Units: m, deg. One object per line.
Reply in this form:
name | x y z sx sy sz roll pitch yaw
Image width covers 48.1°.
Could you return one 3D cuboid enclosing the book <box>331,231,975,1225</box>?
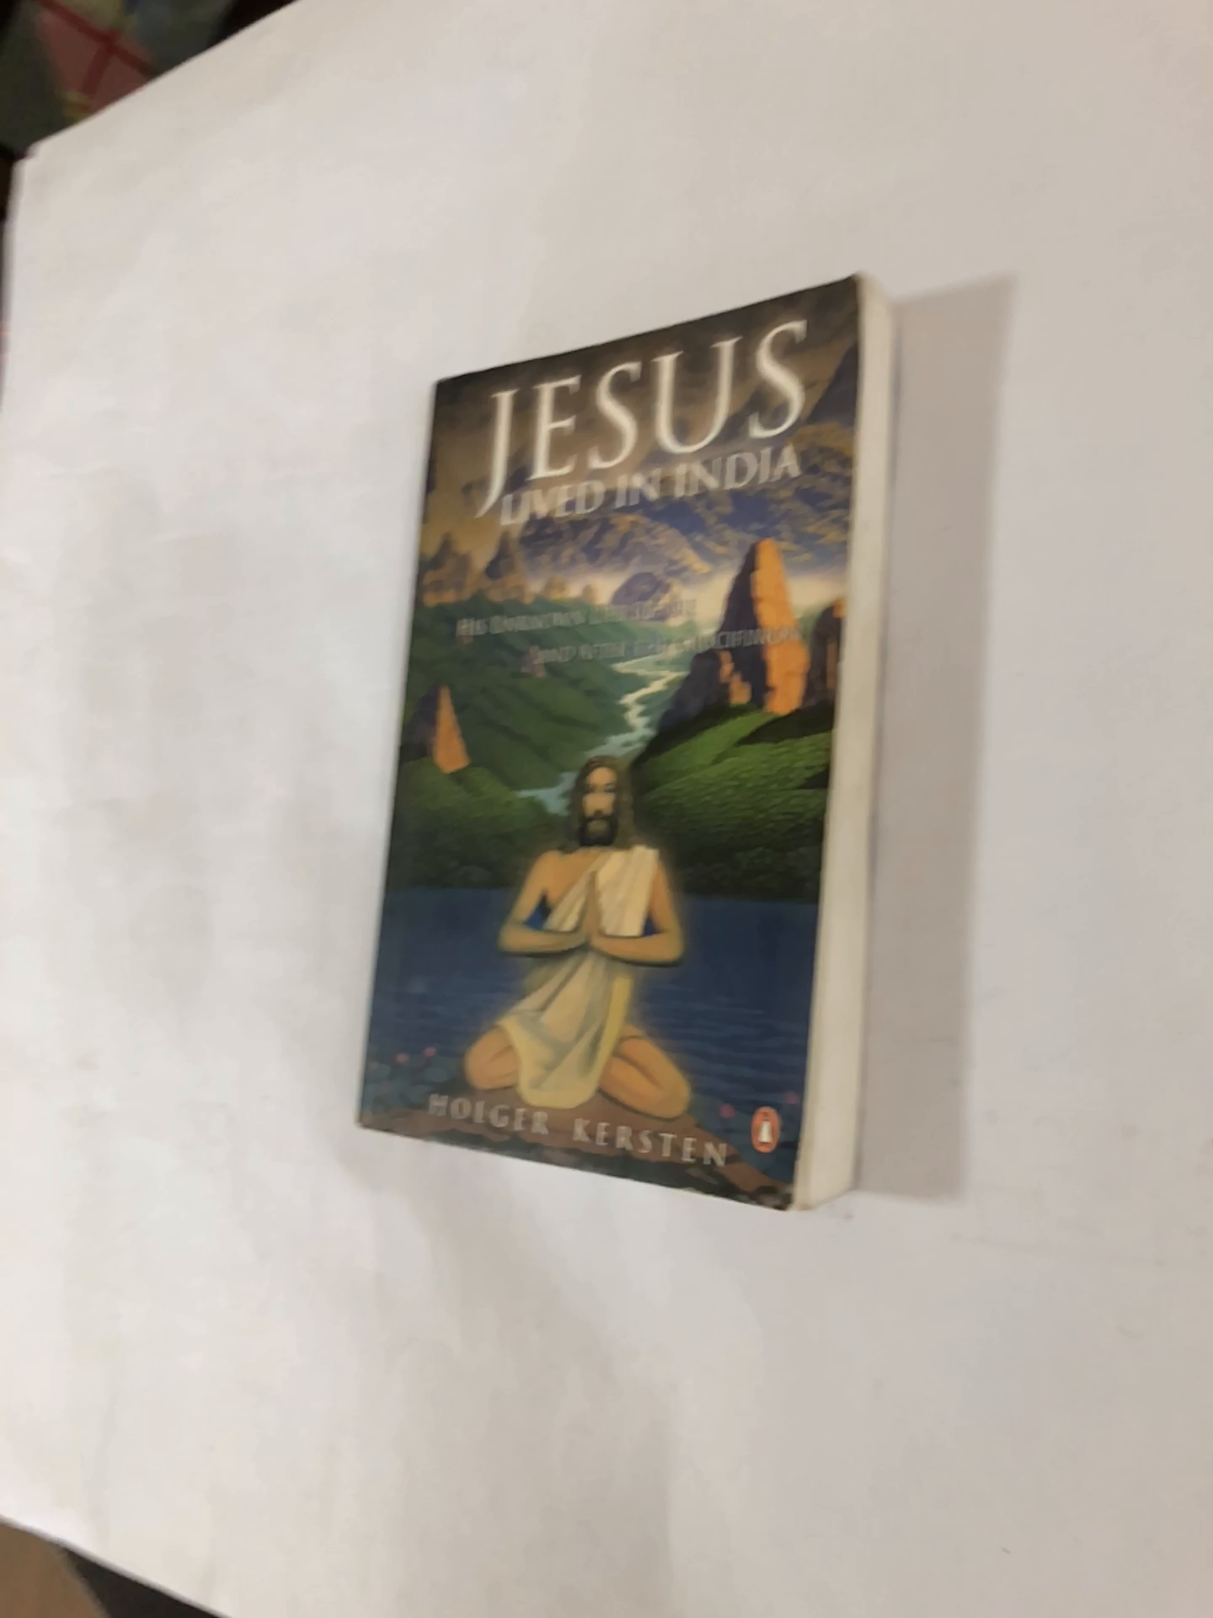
book | 0.007 -0.019 0.337 0.151 0.030 0.210 0 80 36
